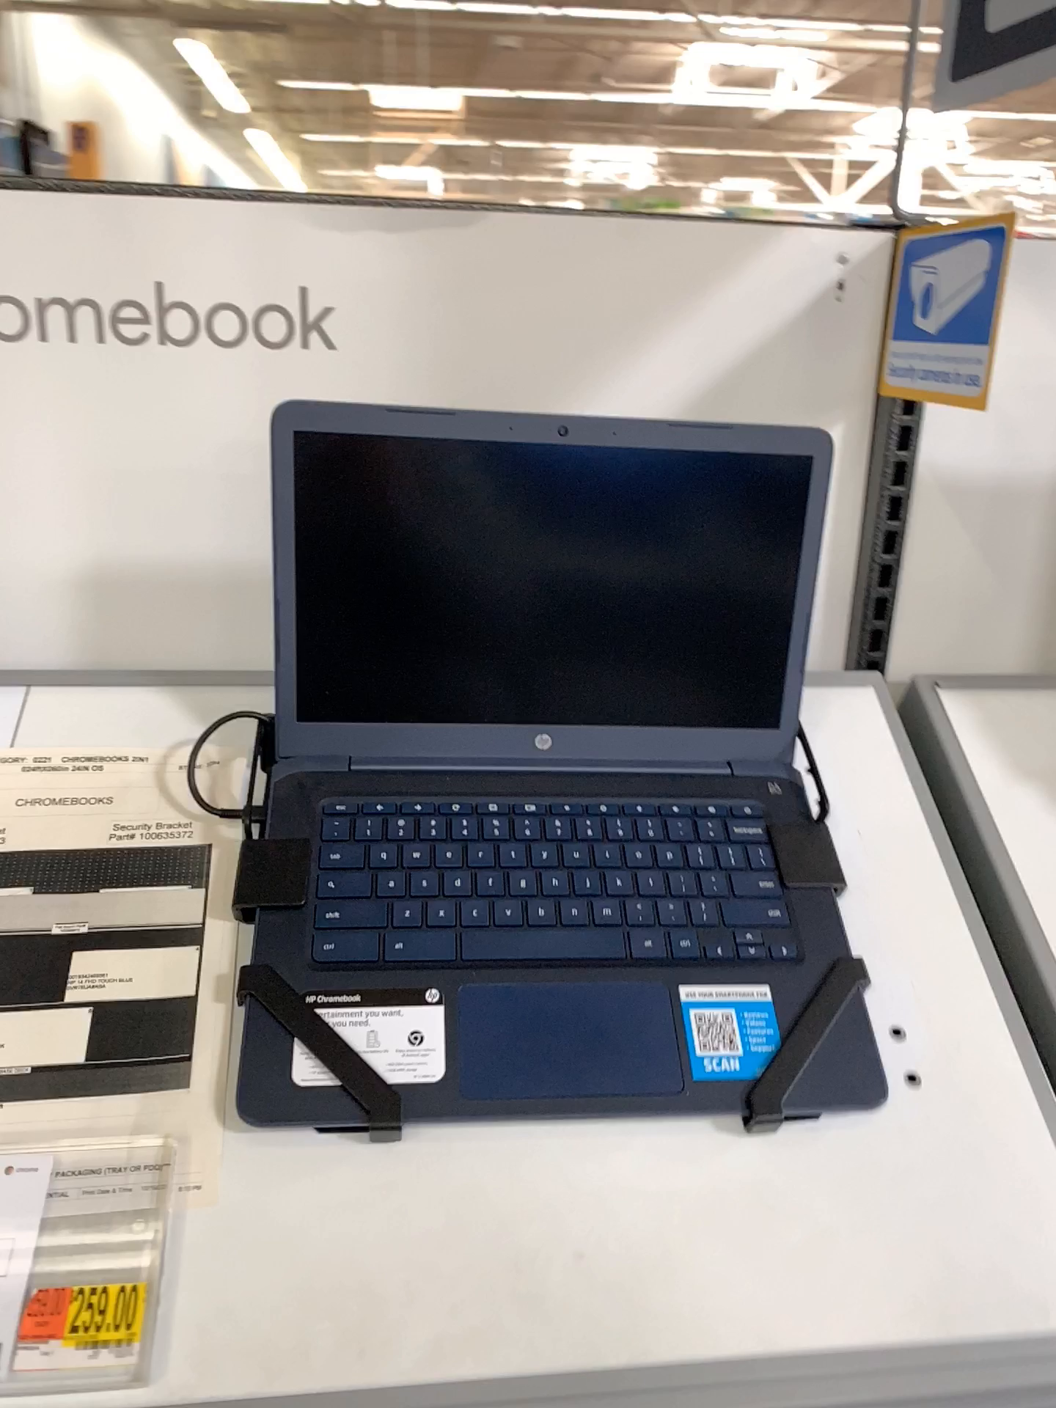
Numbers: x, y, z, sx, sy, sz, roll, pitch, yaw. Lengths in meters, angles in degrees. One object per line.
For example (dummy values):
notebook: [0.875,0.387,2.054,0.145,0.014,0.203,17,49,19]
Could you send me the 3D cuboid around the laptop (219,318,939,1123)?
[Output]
laptop: [0.018,-0.019,0.612,0.317,0.189,0.324,1,40,-6]
